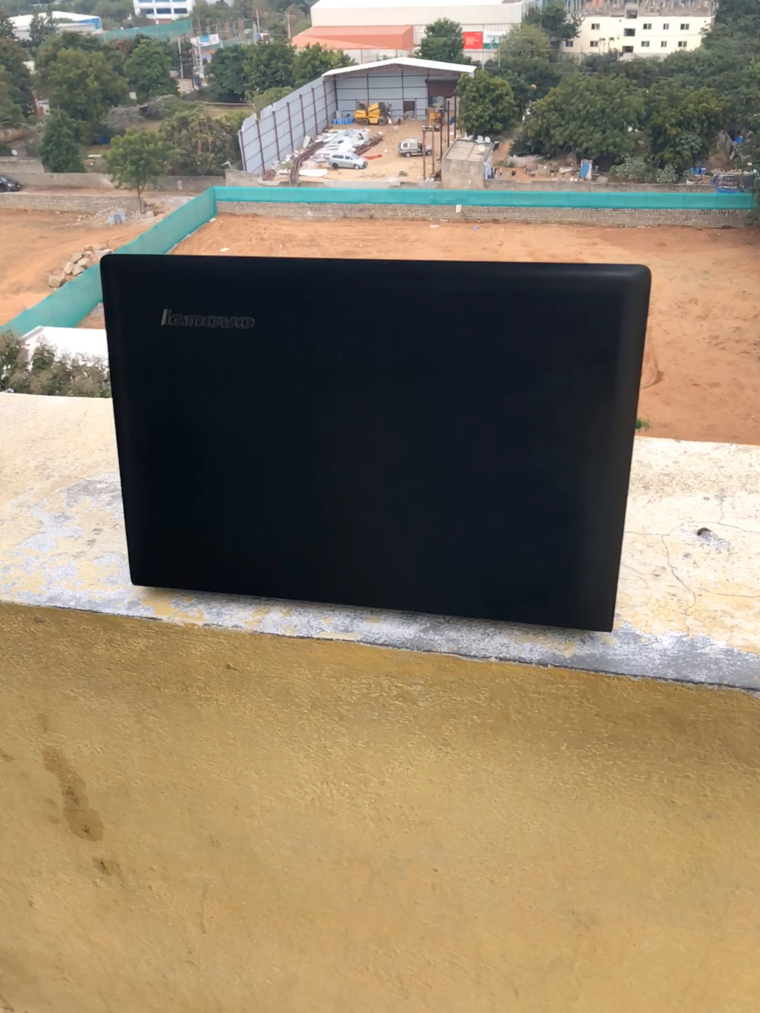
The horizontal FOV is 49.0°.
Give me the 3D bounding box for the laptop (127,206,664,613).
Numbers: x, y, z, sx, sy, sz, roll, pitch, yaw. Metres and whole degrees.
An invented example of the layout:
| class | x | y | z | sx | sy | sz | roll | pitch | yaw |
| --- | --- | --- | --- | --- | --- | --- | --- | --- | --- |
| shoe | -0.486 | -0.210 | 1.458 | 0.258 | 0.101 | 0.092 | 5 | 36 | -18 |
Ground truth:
| class | x | y | z | sx | sy | sz | roll | pitch | yaw |
| --- | --- | --- | --- | --- | --- | --- | --- | --- | --- |
| laptop | 0.029 | -0.095 | 0.668 | 0.333 | 0.223 | 0.246 | 5 | 34 | 13 |
